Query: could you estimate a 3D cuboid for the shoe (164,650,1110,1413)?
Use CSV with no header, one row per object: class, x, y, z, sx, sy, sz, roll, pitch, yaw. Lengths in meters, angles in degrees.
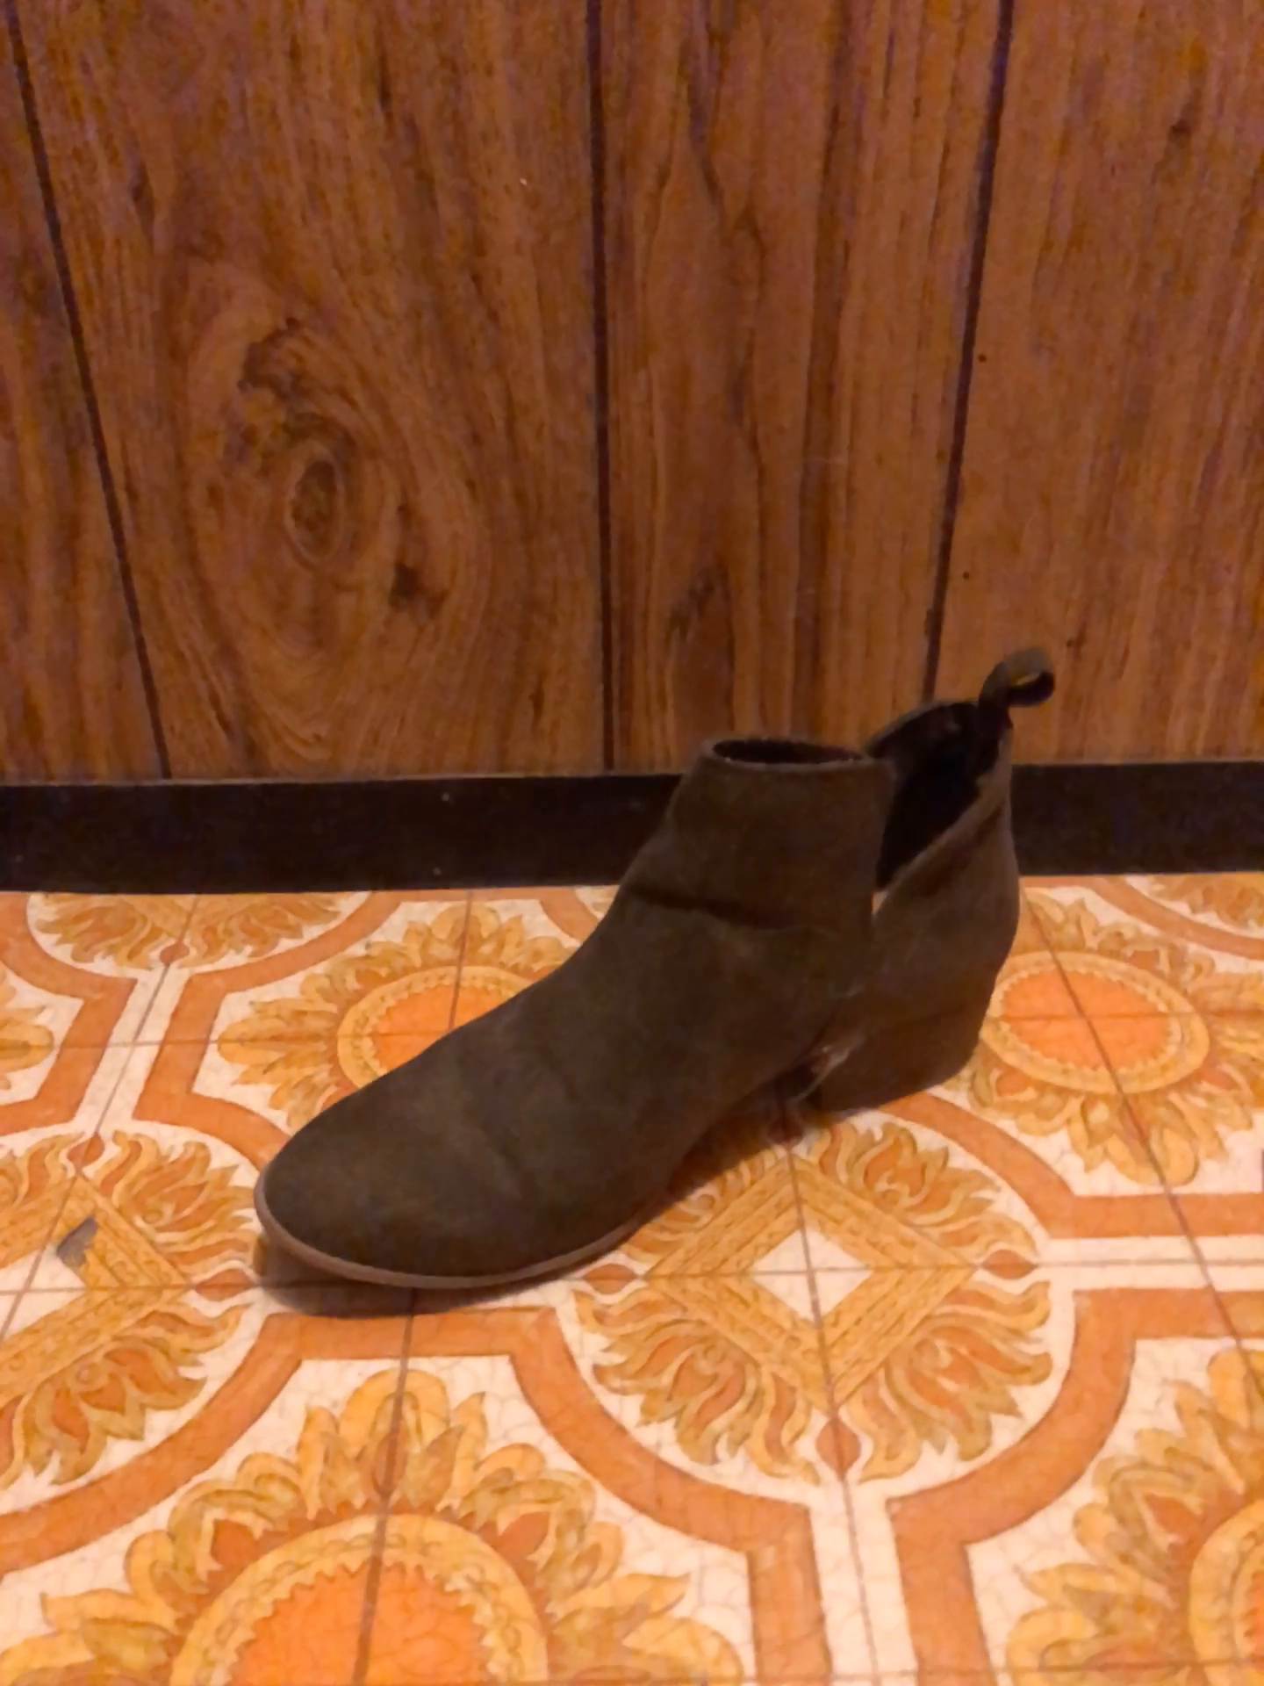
shoe,0.011,0.042,0.423,0.260,0.130,0.080,-17,34,-26
